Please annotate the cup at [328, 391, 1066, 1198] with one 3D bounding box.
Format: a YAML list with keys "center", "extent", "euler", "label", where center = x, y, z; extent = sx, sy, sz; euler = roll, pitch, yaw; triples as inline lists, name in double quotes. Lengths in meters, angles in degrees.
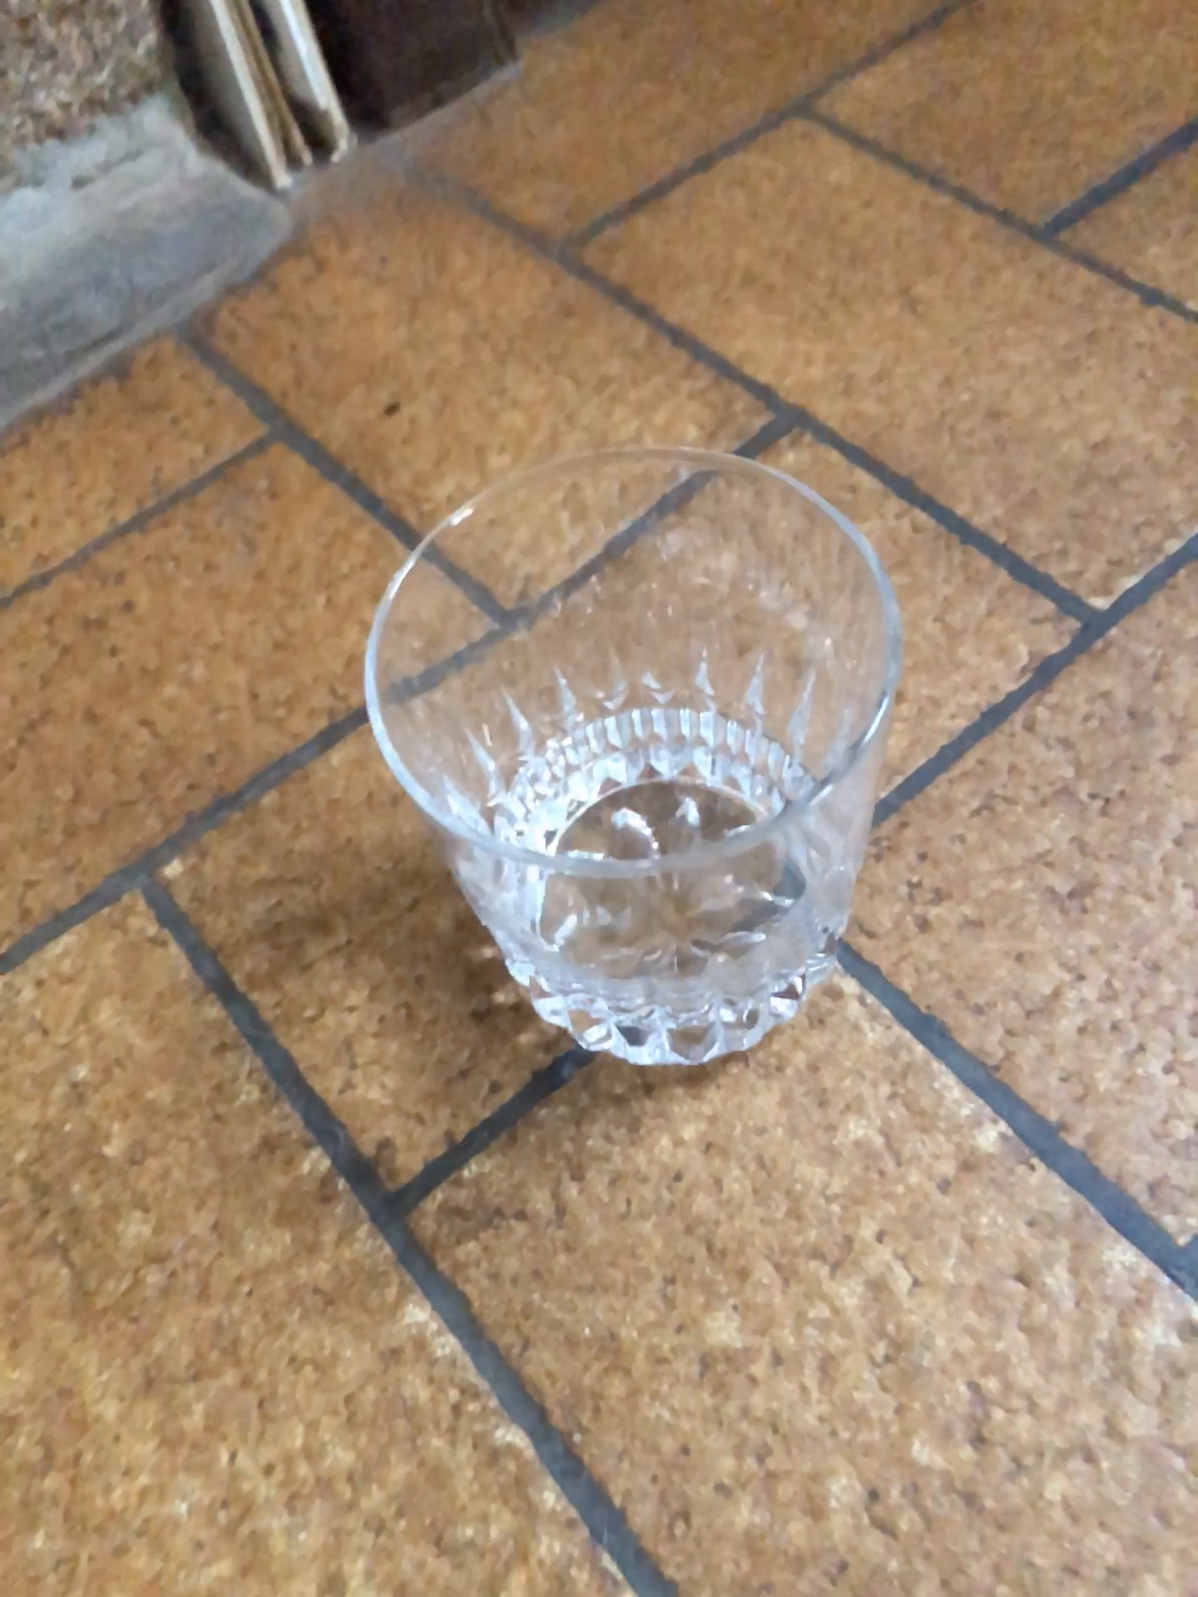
- center: [0.015, 0.003, 0.229]
  extent: [0.080, 0.090, 0.080]
  euler: [-3, 57, 5]
  label: "cup"
